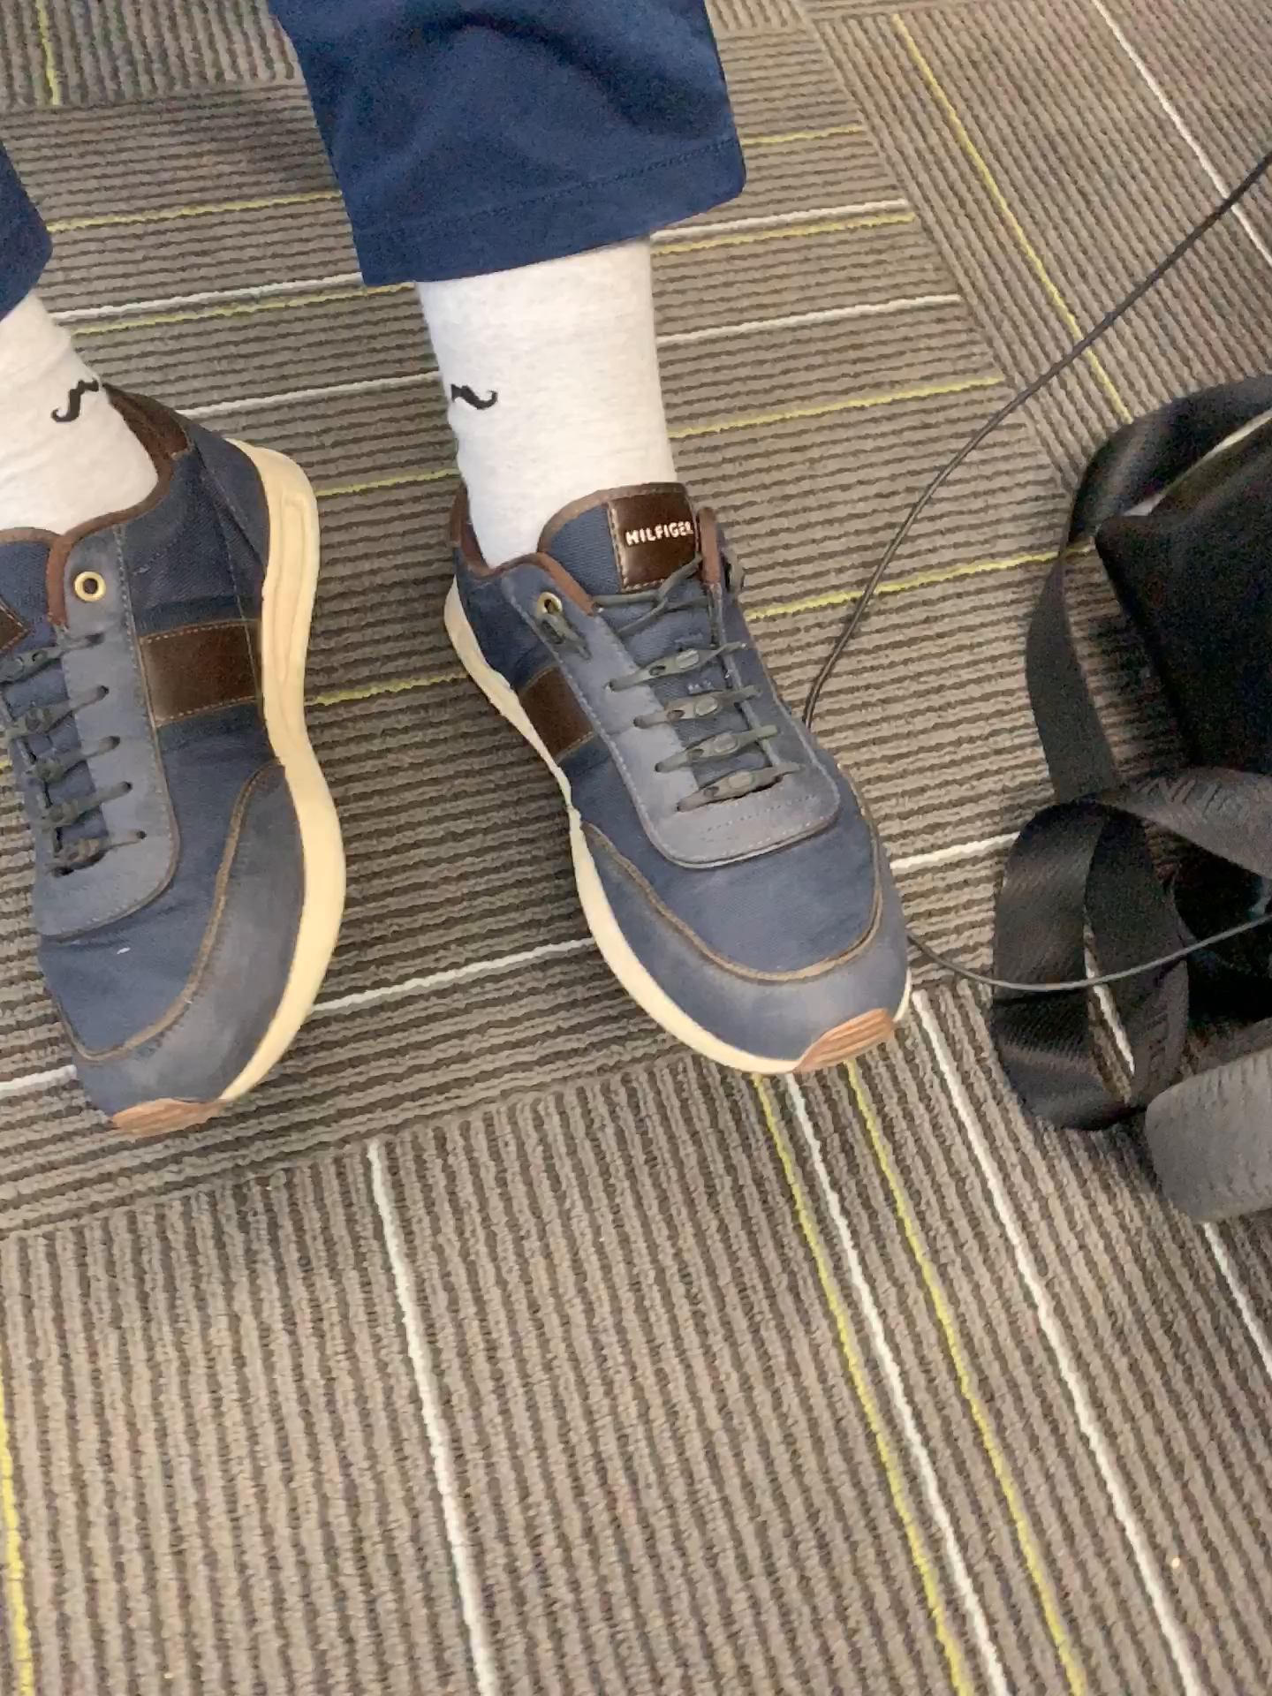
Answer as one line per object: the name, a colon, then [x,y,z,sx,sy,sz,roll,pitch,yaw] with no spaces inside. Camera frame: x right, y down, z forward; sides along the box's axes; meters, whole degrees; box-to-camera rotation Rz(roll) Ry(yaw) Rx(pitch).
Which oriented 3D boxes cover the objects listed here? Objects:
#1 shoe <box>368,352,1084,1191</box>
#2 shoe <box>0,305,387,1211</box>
shoe: [0.012,-0.048,0.481,0.120,0.100,0.301,-20,54,-14]
shoe: [-0.175,-0.048,0.488,0.120,0.100,0.321,-20,51,17]
